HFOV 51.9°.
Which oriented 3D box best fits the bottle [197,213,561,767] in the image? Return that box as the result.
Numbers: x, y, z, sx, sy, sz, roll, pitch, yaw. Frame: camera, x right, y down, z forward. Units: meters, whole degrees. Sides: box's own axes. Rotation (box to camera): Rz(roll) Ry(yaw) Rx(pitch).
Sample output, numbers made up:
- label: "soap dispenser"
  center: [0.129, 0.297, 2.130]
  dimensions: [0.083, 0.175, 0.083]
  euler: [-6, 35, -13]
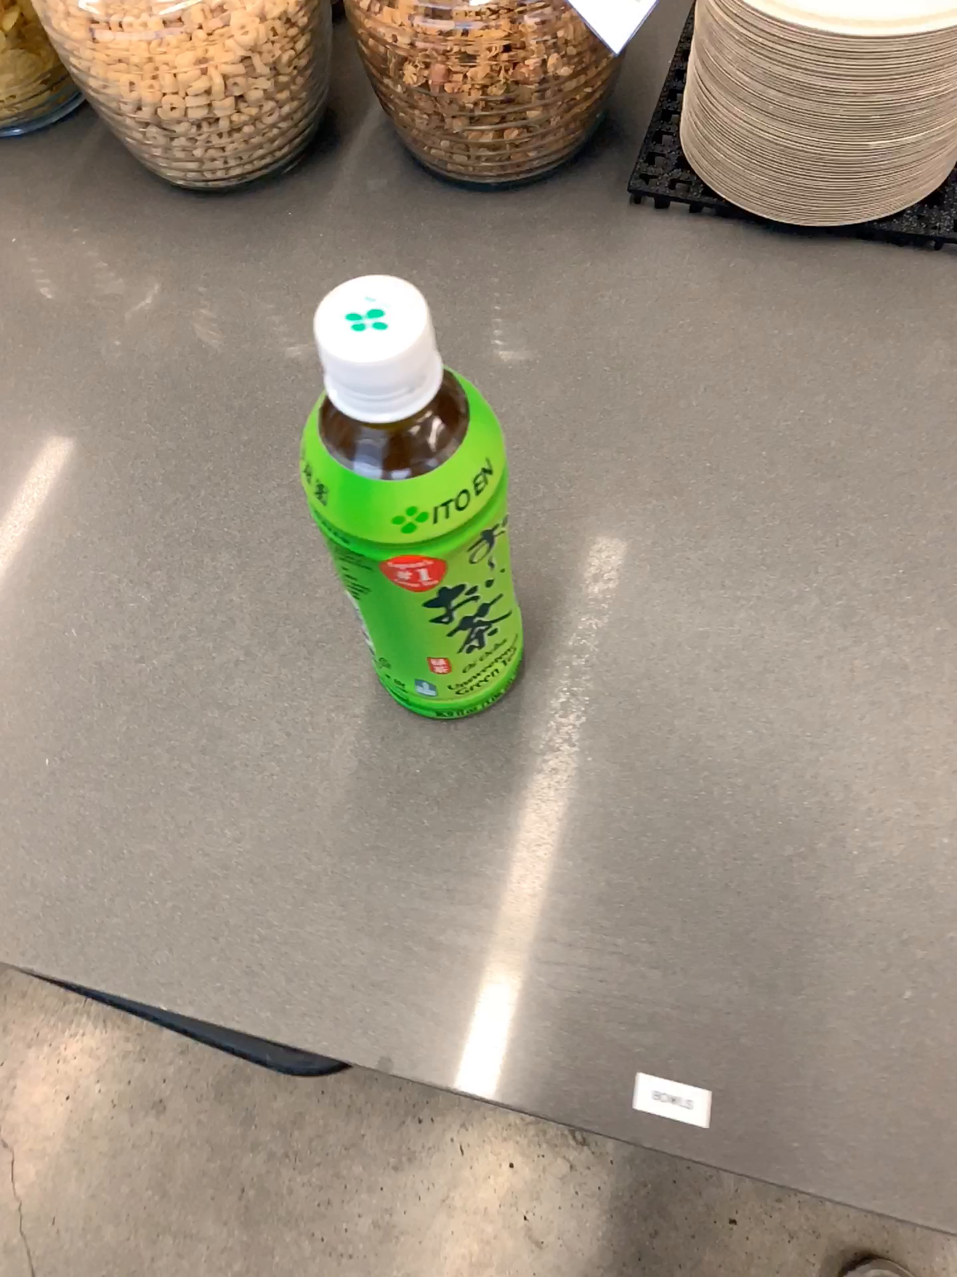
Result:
- label: "bottle"
  center: [-0.020, -0.034, 0.351]
  dimensions: [0.070, 0.199, 0.070]
  euler: [-2, 63, 4]
